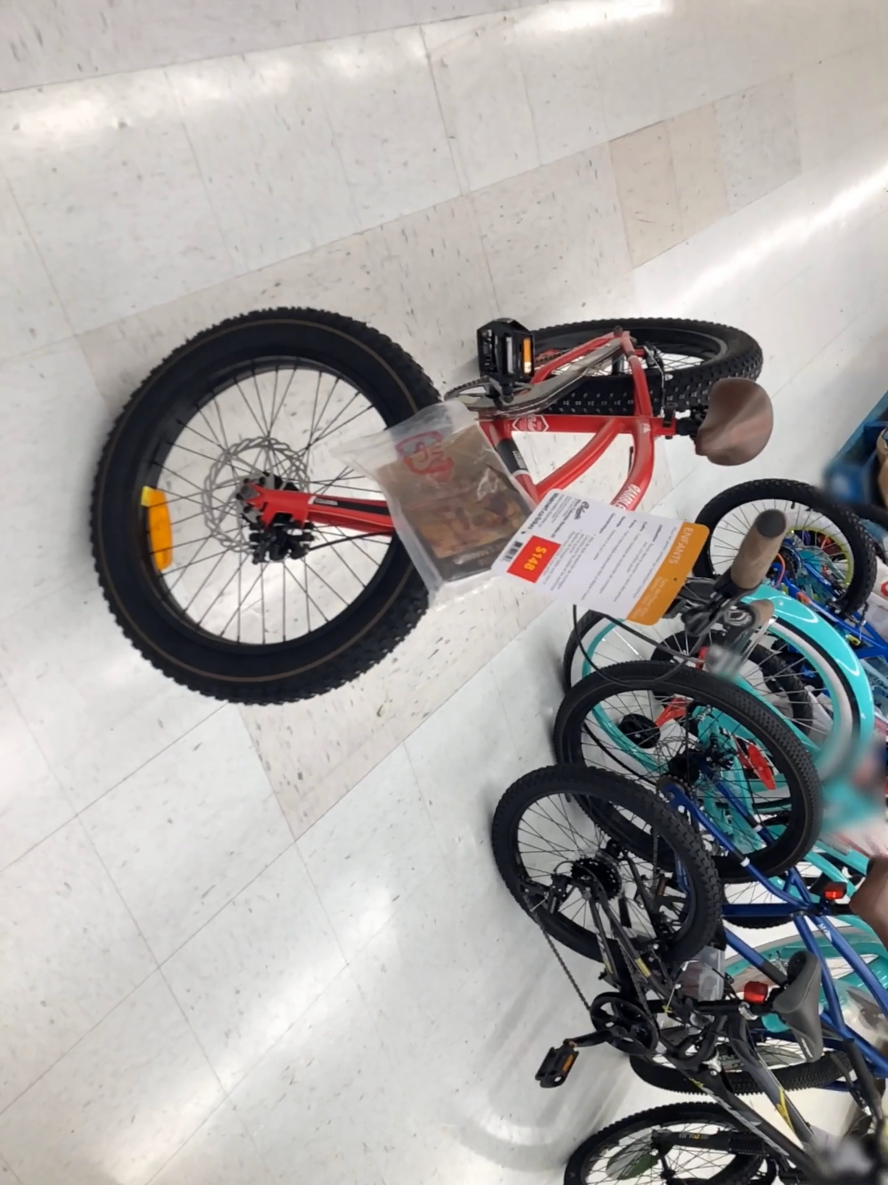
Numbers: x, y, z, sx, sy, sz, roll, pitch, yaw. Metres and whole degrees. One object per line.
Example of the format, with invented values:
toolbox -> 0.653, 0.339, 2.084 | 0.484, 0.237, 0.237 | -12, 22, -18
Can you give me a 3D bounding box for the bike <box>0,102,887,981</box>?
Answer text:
bike -> 0.213, -0.221, 1.559 | 1.363, 0.967, 0.608 | -38, 121, -37
